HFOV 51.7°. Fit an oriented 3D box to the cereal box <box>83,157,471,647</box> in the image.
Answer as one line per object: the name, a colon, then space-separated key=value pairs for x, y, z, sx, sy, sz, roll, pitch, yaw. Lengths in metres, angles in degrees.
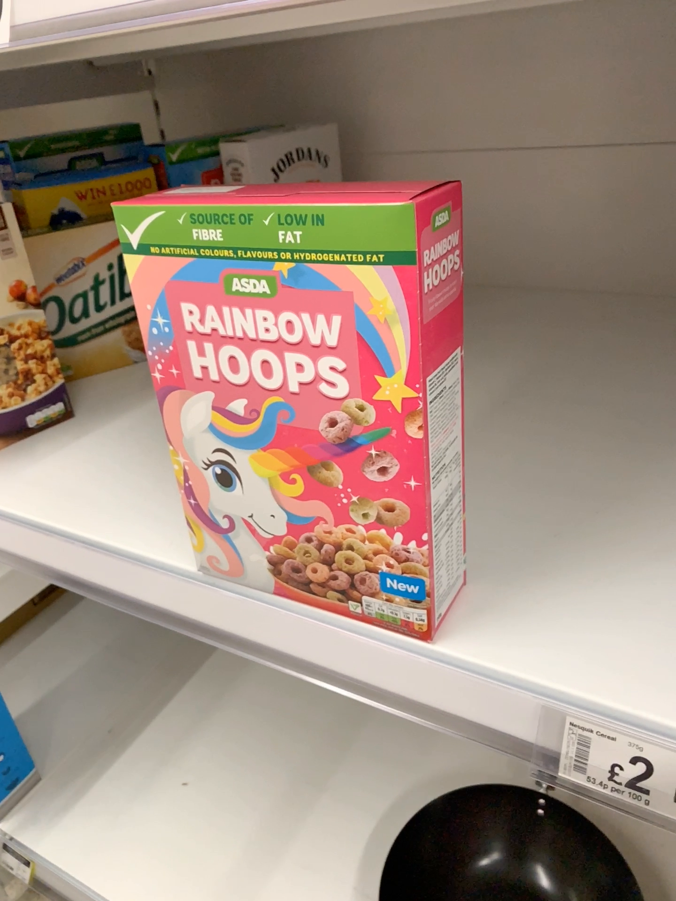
cereal box: x=-0.028 y=-0.029 z=0.445 sx=0.210 sy=0.278 sz=0.060 roll=10 pitch=33 yaw=28
